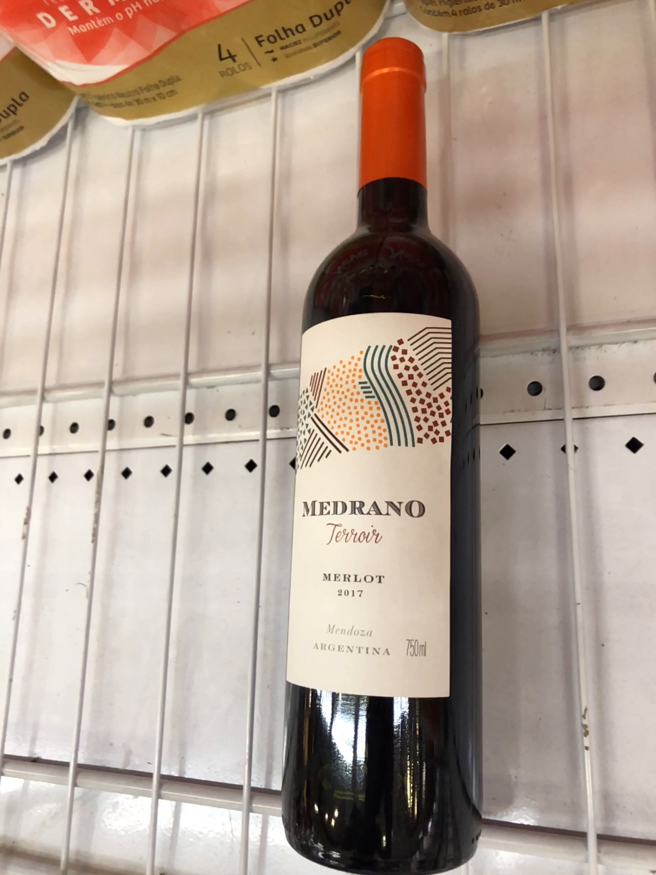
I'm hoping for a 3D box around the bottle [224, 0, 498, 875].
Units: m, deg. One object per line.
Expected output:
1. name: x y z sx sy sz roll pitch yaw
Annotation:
1. bottle: 0.022 -0.014 0.301 0.080 0.070 0.330 -3 76 23
